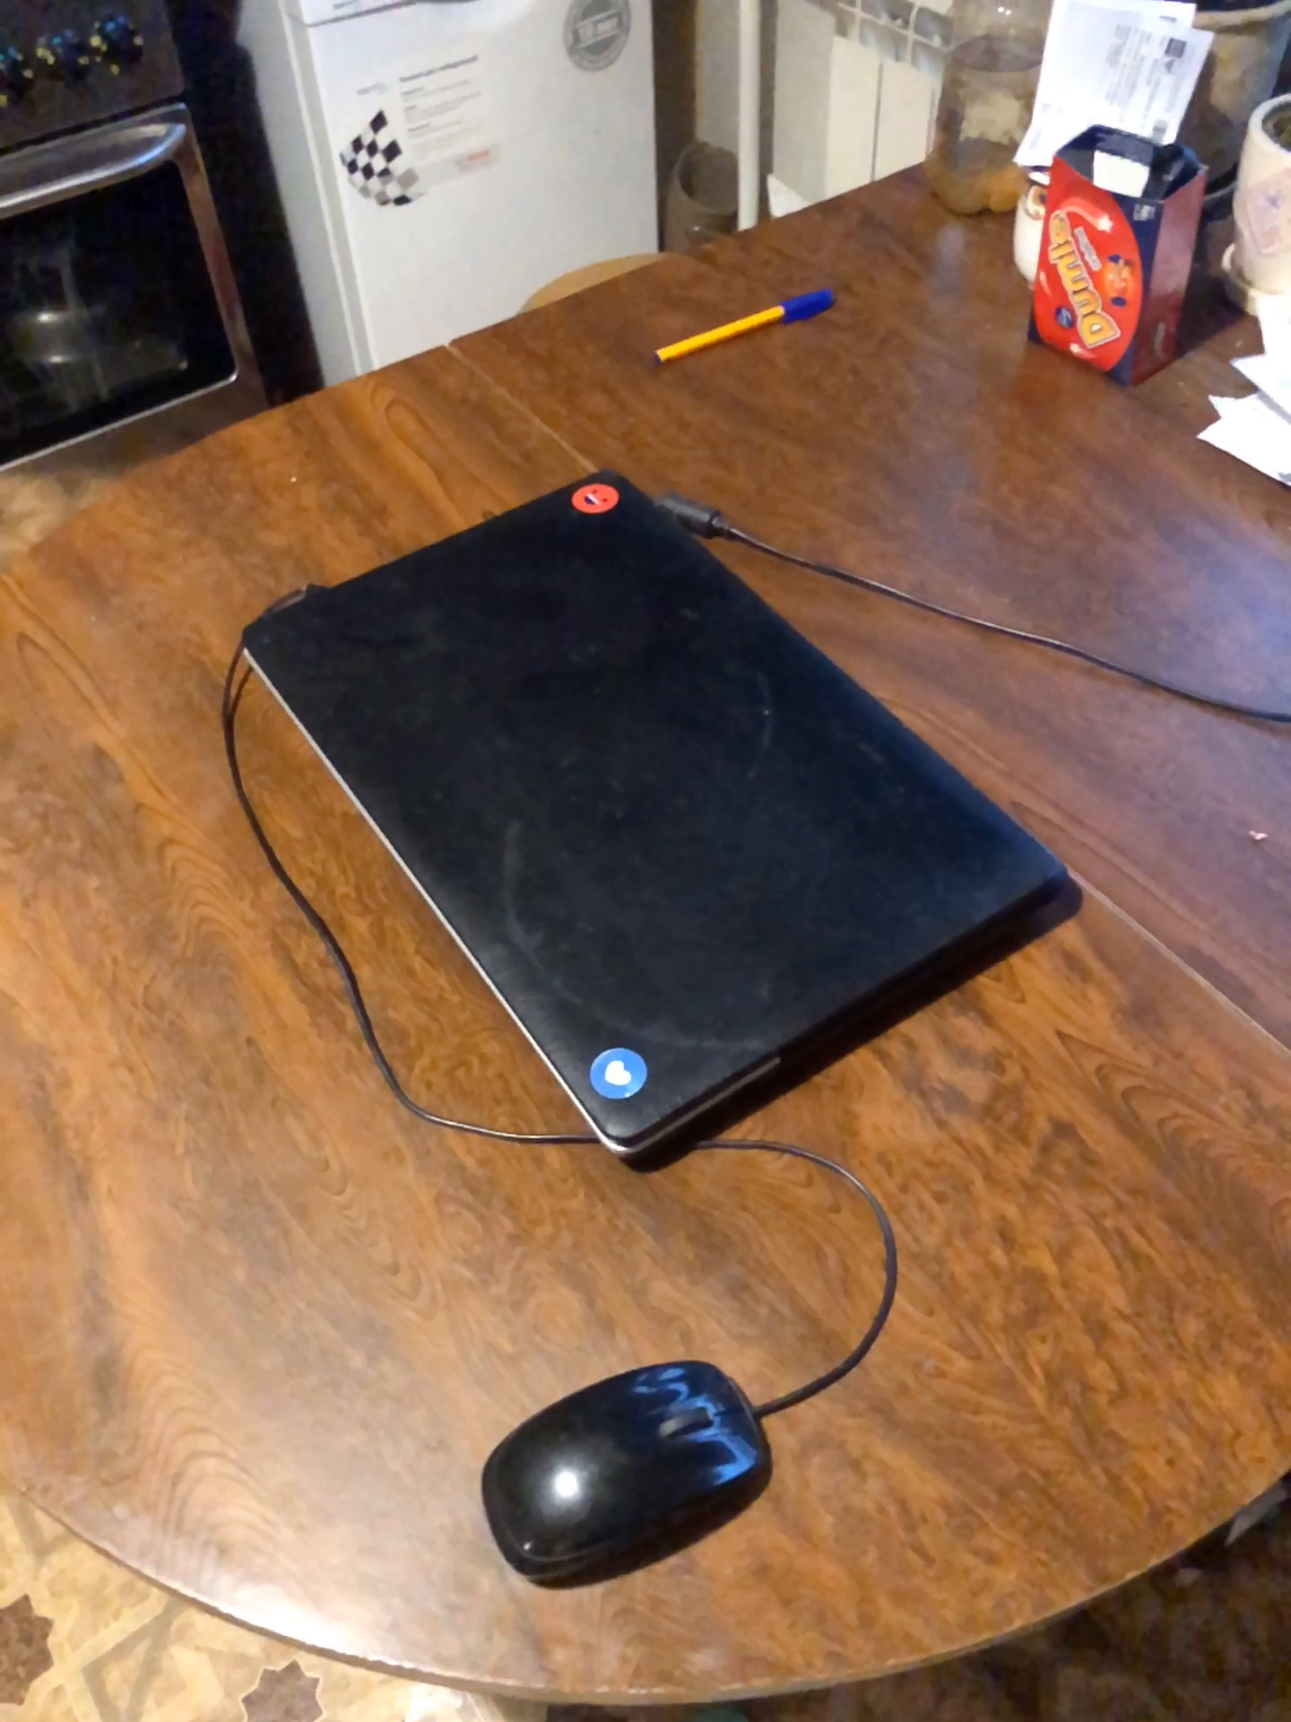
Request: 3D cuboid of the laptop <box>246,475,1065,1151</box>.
[{"bbox_3d":[-0.013,-0.055,0.704,0.238,0.007,0.367,-29,56,-18],"label":"laptop"}]
